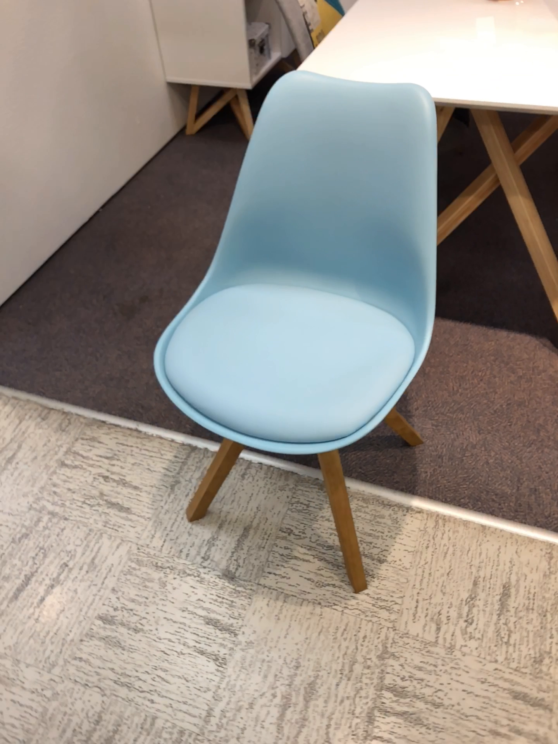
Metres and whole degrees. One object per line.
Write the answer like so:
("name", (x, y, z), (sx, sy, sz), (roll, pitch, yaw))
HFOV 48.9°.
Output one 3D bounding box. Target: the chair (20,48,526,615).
("chair", (0.052, -0.067, 1.160), (0.540, 0.795, 0.563), (15, 49, 19))
